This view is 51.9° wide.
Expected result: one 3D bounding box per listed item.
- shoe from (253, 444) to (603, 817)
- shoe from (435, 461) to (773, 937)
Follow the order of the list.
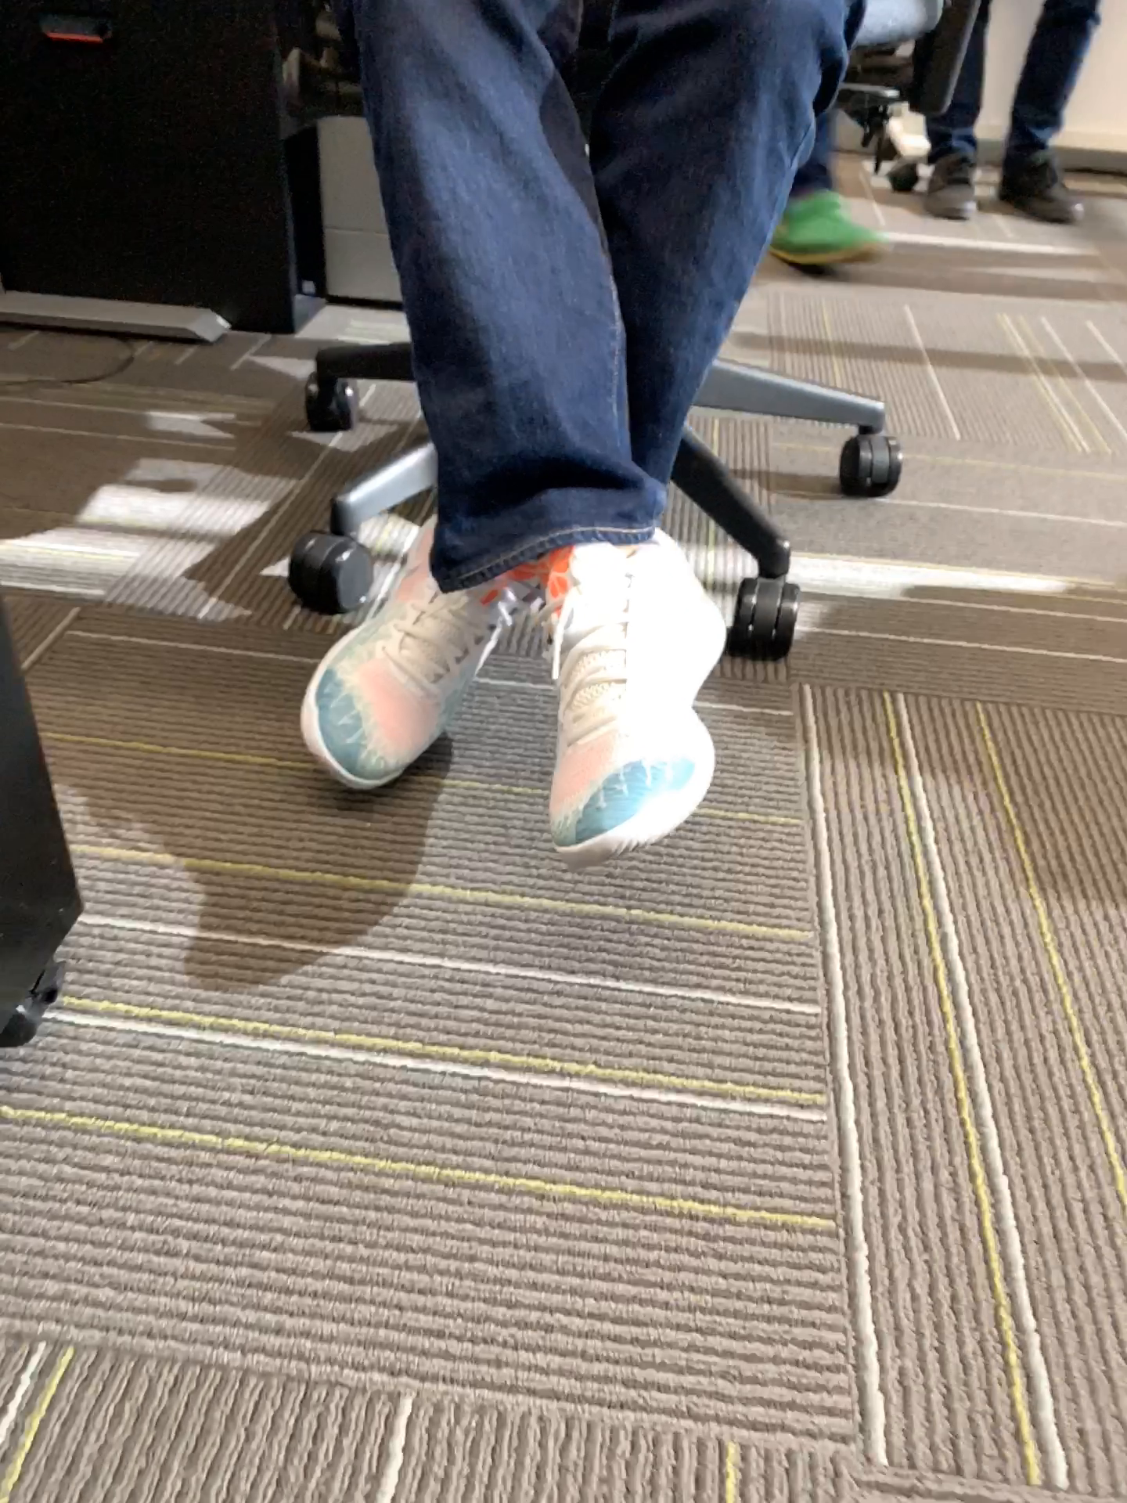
[{"bbox_3d":[-0.087,-0.101,0.851,0.115,0.108,0.287,36,39,-5],"label":"shoe"},{"bbox_3d":[0.036,-0.042,0.698,0.113,0.108,0.267,39,40,-19],"label":"shoe"}]
